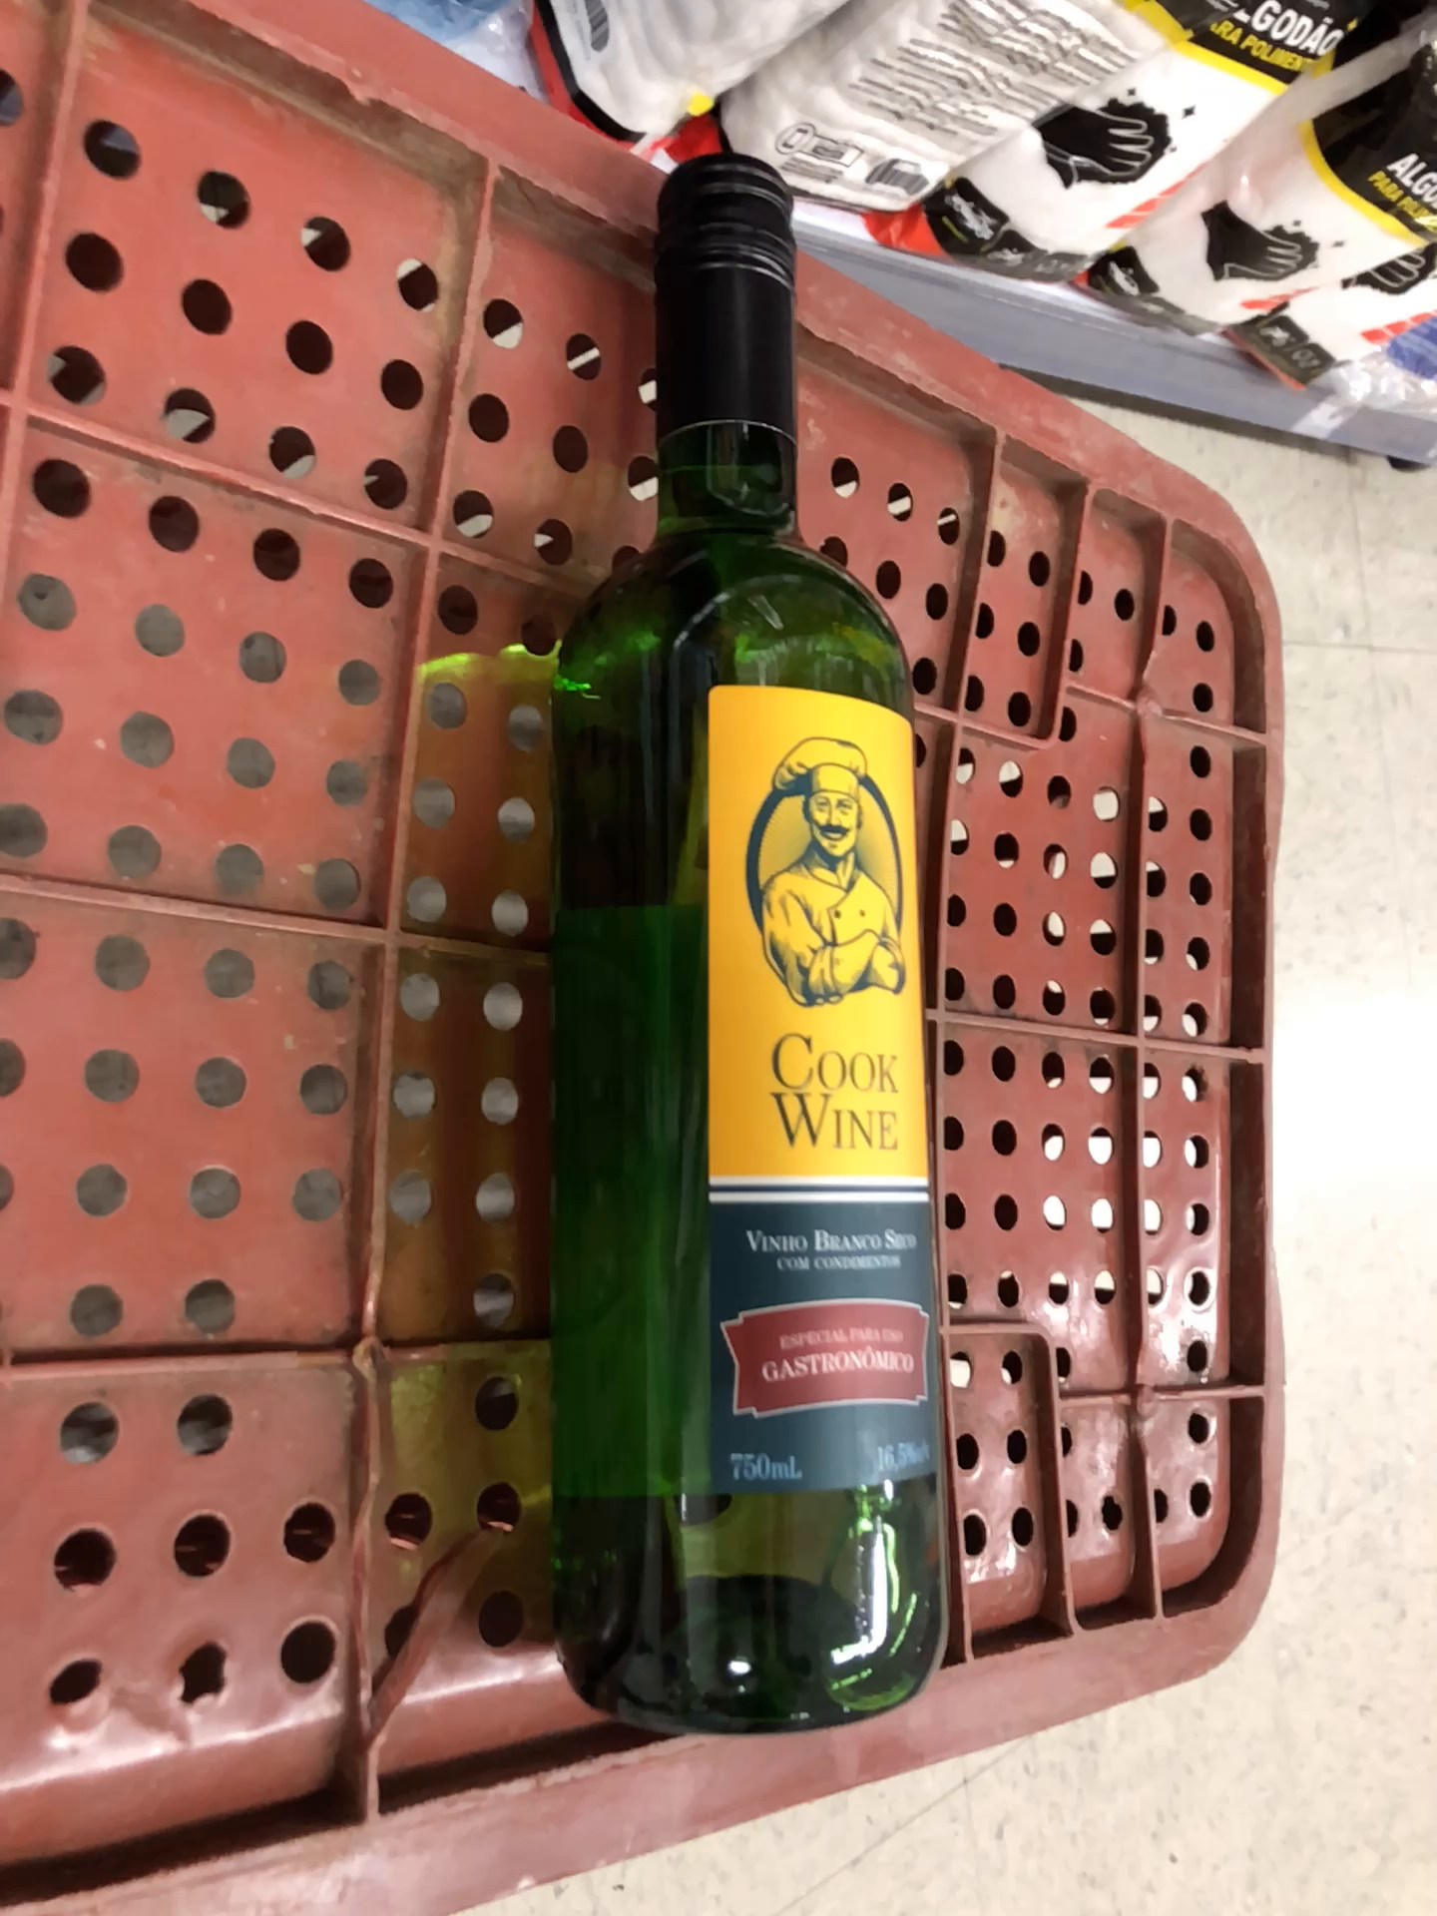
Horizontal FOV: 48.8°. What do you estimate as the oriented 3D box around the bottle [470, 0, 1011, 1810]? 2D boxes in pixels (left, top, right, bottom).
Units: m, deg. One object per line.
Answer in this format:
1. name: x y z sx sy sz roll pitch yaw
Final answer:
1. bottle: 0.006 -0.022 0.310 0.080 0.060 0.320 5 82 -30
